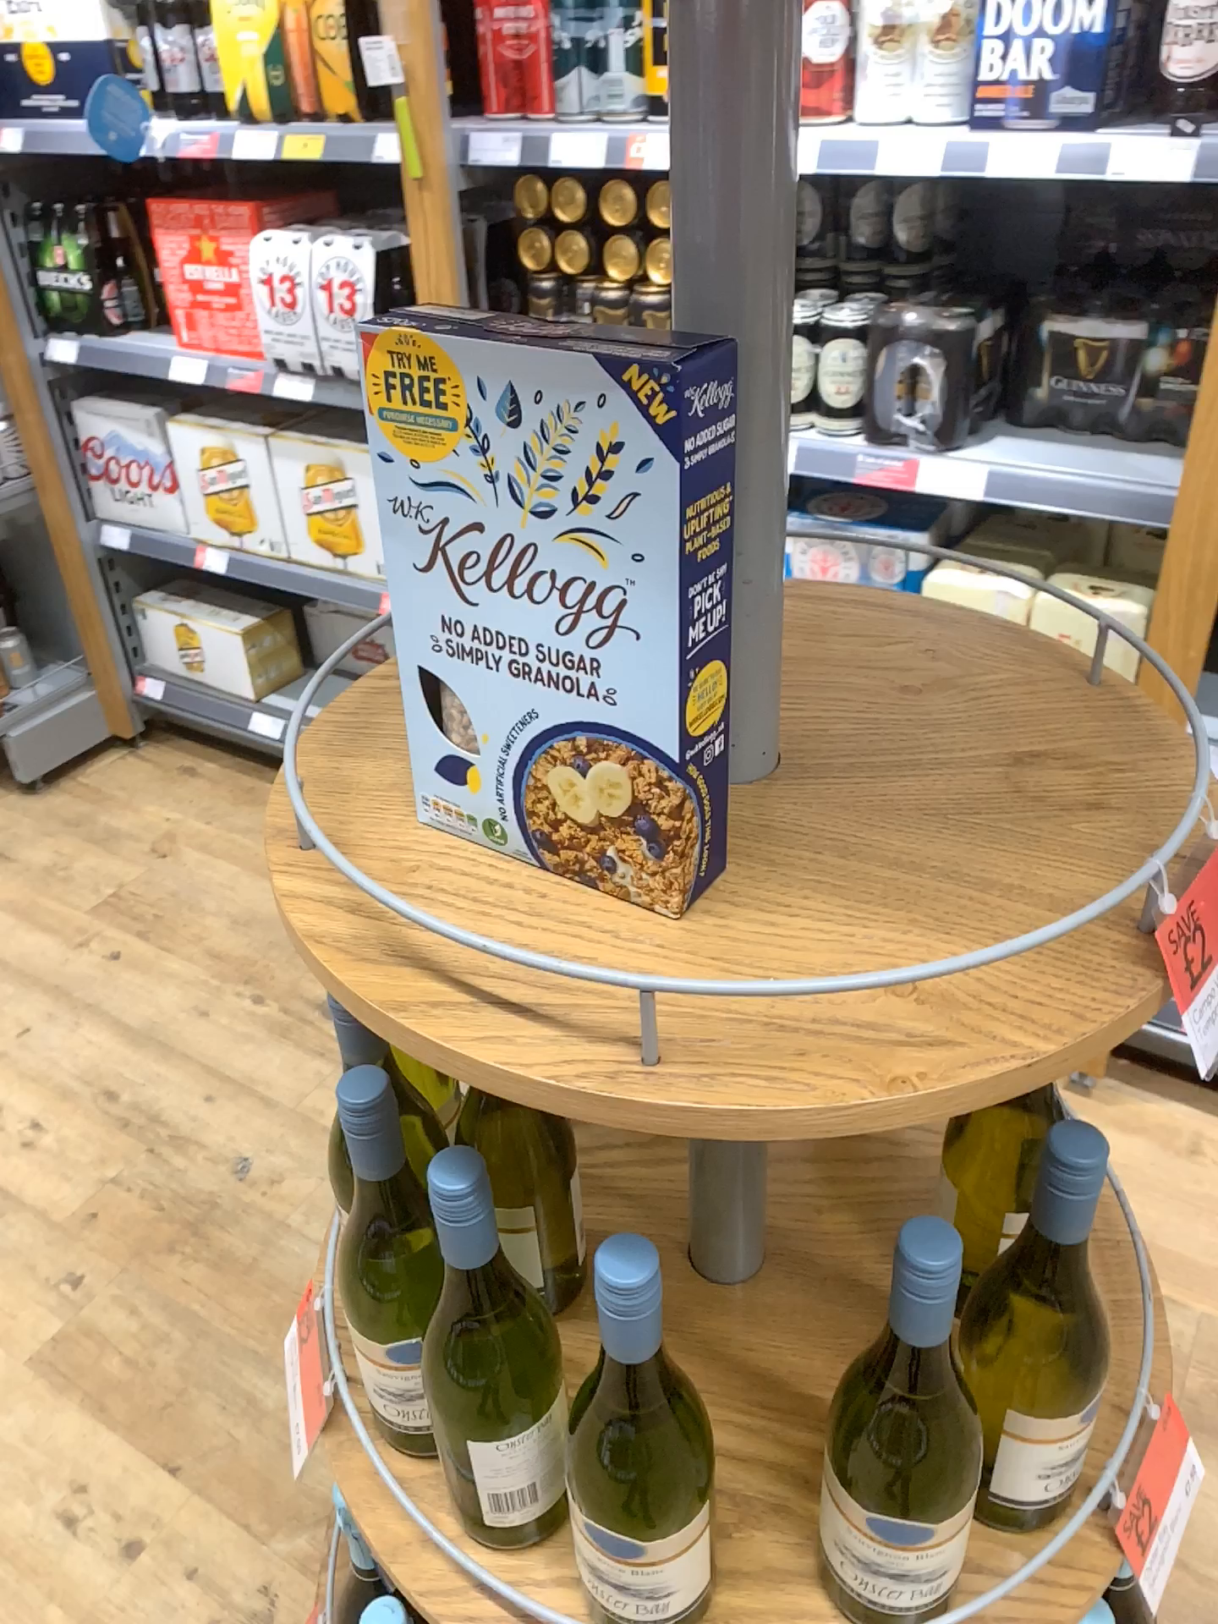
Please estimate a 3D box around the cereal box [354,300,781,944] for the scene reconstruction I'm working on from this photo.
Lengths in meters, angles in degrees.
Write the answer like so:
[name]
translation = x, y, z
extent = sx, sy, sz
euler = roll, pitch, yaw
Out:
[cereal box]
translation = -0.016, -0.082, 0.550
extent = 0.171, 0.248, 0.050
euler = 19, 38, 31
